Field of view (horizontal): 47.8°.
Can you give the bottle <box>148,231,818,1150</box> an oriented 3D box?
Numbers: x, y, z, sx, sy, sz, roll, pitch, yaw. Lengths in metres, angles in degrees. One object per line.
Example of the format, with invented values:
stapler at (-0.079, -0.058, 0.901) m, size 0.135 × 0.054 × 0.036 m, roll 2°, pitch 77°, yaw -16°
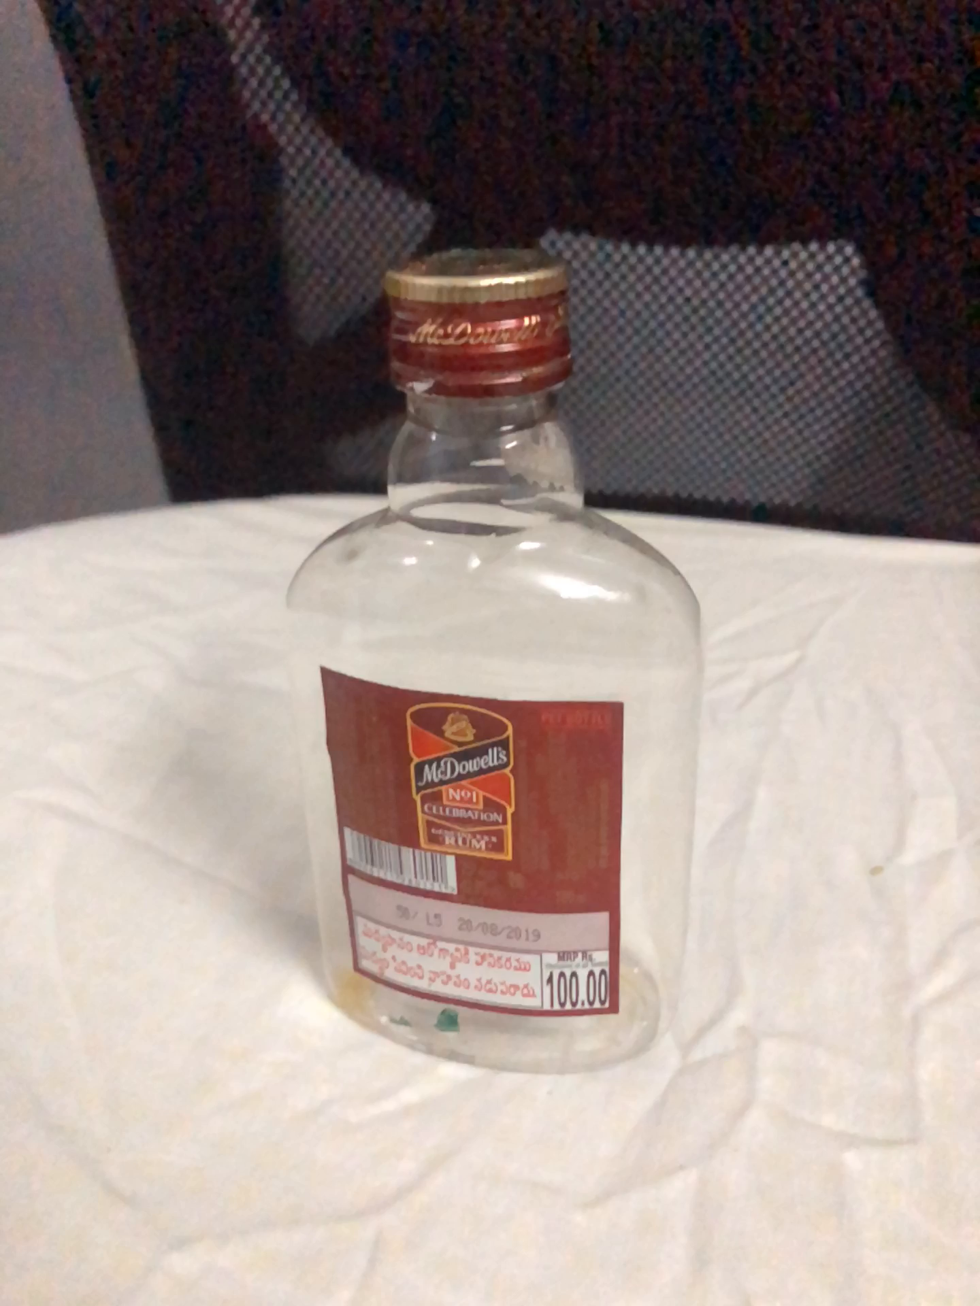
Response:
bottle at (0.002, 0.010, 0.180) m, size 0.080 × 0.139 × 0.040 m, roll 7°, pitch 31°, yaw 13°
